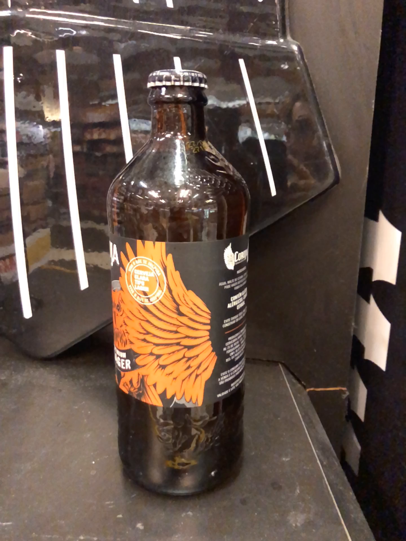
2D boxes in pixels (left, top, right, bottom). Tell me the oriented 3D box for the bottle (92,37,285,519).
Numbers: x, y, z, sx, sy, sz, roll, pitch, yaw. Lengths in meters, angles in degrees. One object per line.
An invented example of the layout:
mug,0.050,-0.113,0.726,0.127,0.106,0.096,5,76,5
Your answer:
bottle,-0.011,0.005,0.244,0.070,0.219,0.070,1,14,0
